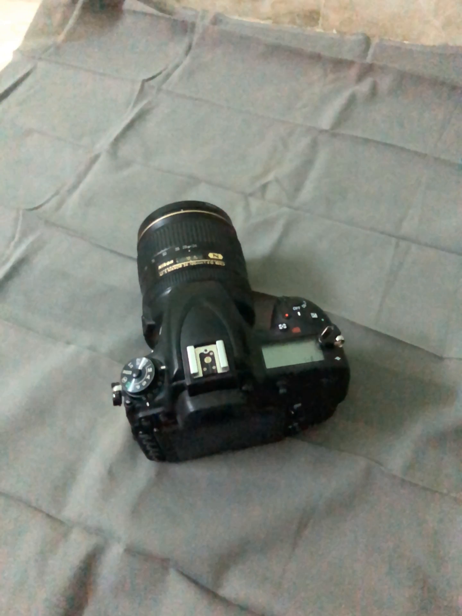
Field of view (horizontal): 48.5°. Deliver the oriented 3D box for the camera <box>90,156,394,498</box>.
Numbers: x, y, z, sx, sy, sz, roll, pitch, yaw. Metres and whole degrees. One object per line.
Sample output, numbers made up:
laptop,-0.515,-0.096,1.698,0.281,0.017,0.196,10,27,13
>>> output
camera,-0.004,0.015,0.344,0.146,0.134,0.164,-8,57,-3
